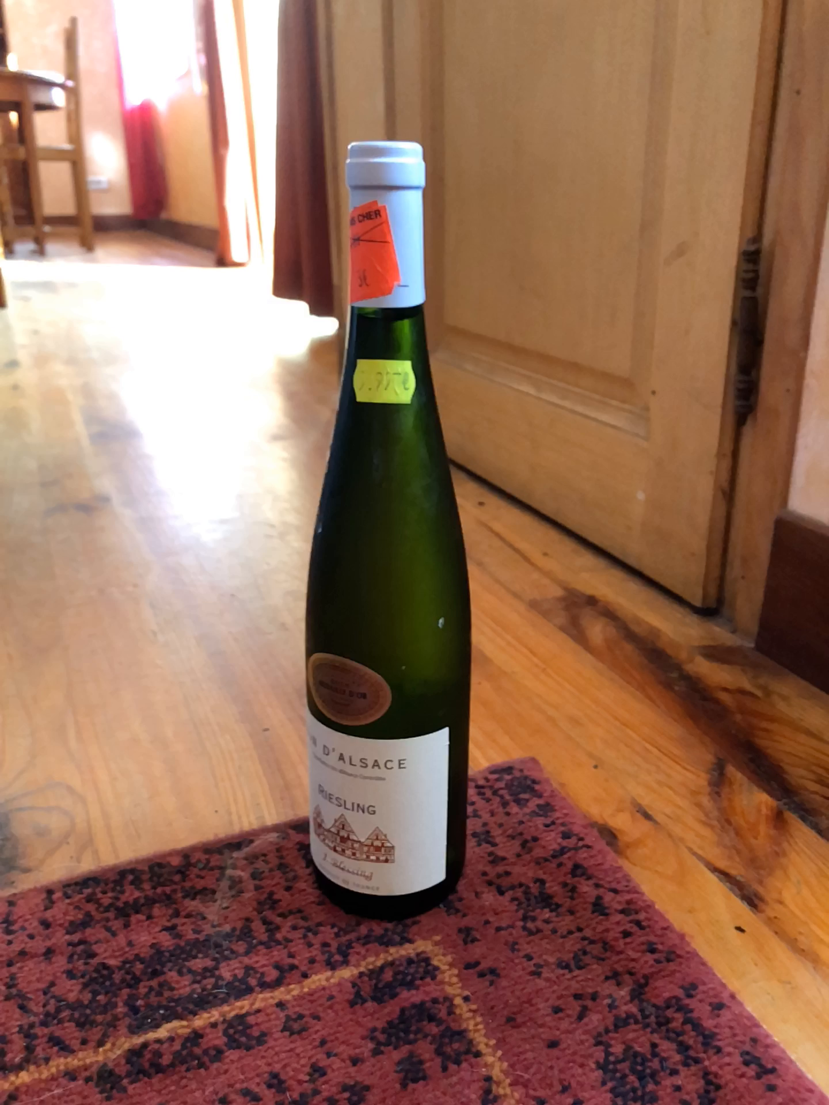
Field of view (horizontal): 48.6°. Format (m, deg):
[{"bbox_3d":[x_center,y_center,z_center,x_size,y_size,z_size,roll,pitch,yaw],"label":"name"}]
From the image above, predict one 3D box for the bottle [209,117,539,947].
[{"bbox_3d":[-0.008,-0.002,0.360,0.080,0.299,0.080,-1,22,0],"label":"bottle"}]
